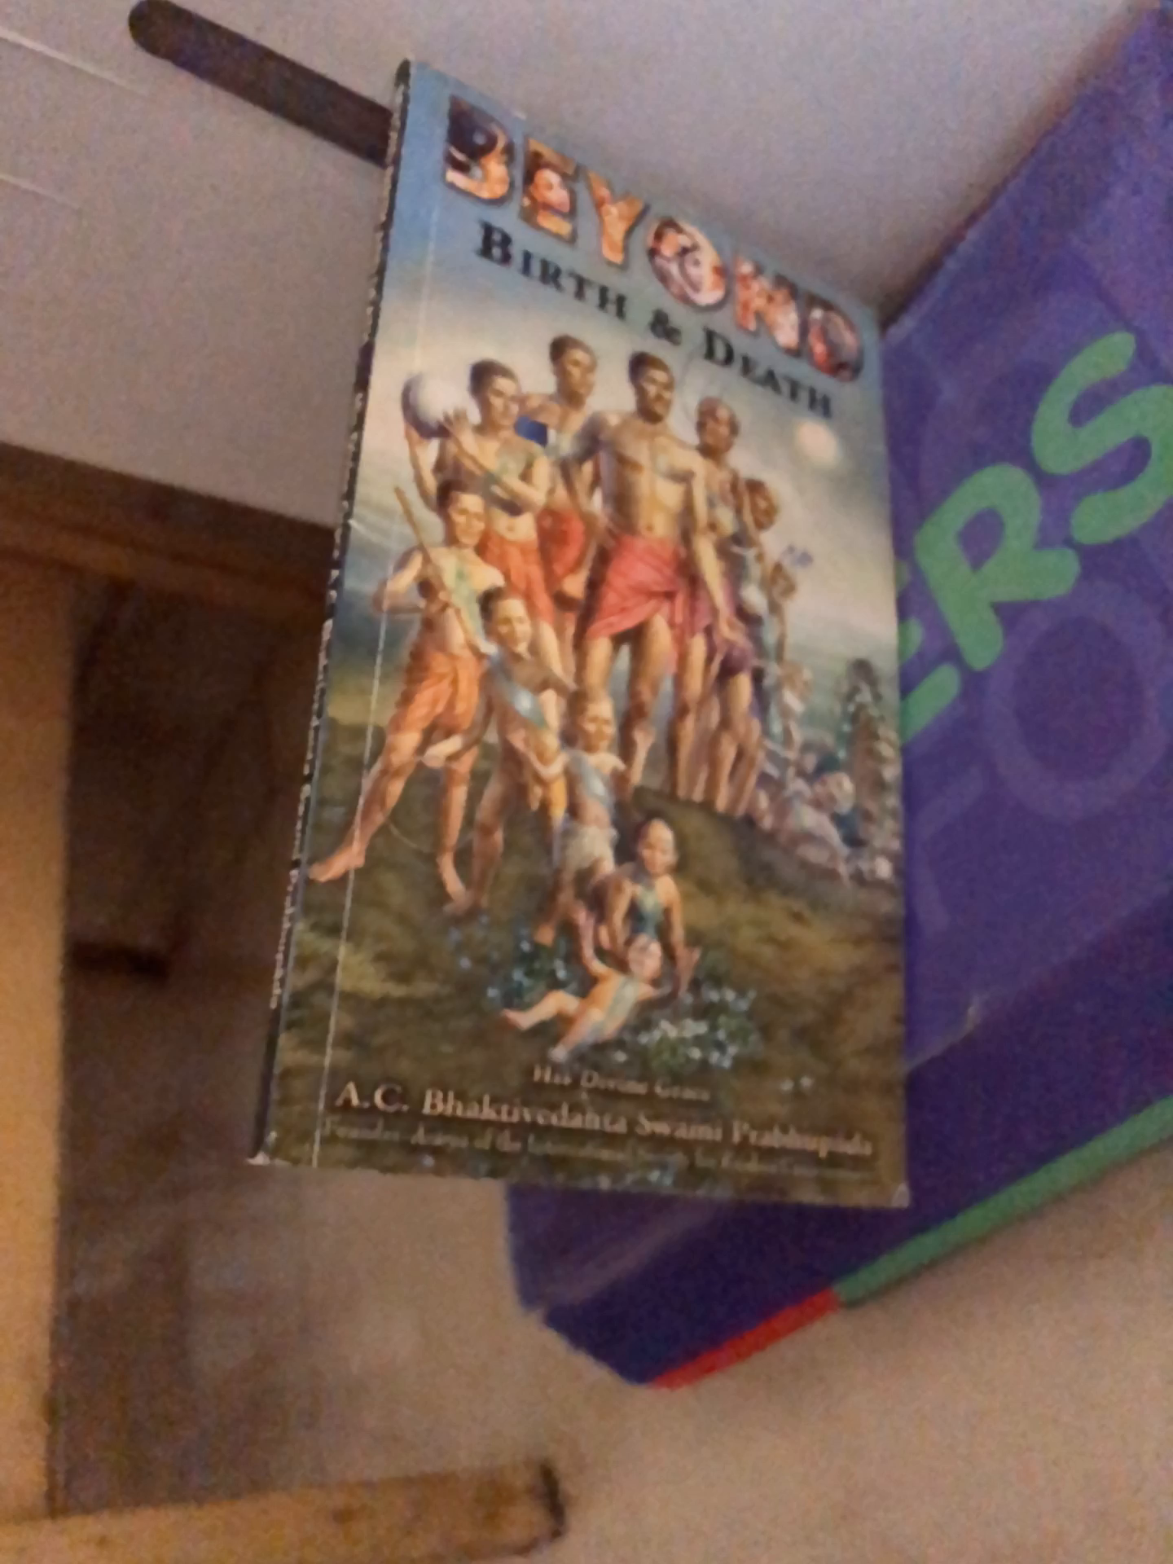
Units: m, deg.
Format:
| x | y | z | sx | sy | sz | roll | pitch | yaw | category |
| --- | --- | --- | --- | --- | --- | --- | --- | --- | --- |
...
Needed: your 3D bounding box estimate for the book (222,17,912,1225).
| x | y | z | sx | sy | sz | roll | pitch | yaw | category |
| --- | --- | --- | --- | --- | --- | --- | --- | --- | --- |
| 0.011 | -0.027 | 0.235 | 0.010 | 0.119 | 0.190 | -22 | 57 | 53 | book |
